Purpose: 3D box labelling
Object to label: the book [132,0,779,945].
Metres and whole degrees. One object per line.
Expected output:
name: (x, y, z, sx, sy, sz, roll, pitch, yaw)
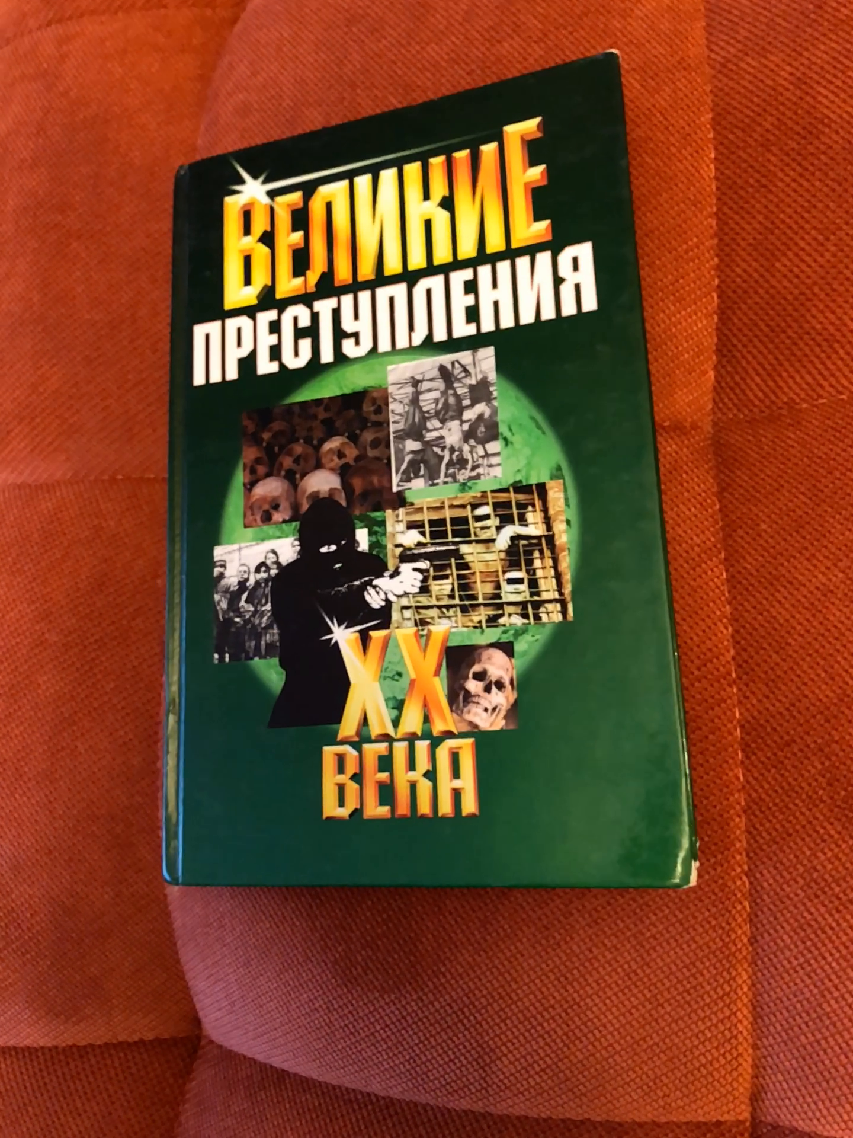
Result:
book: (0.002, -0.025, 0.264, 0.160, 0.040, 0.230, -5, 77, 20)
